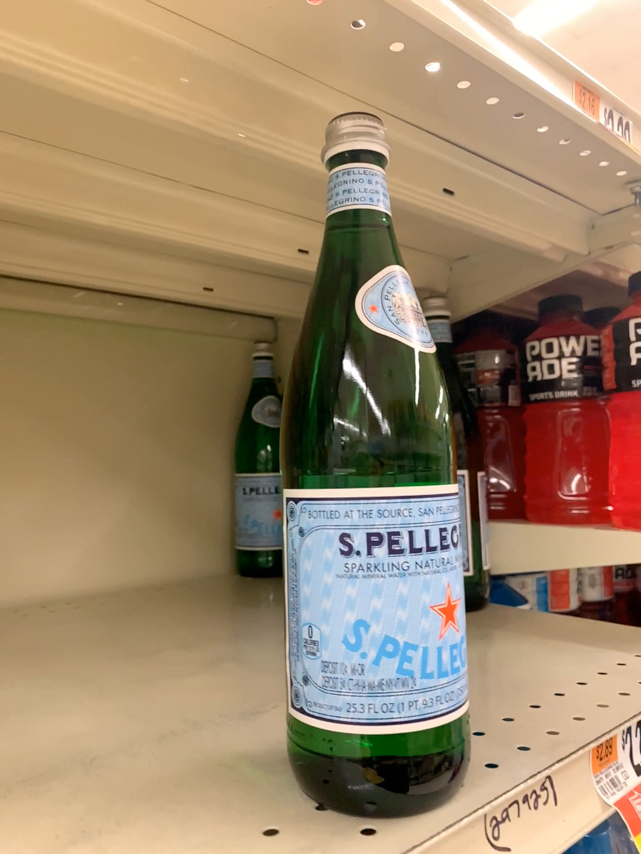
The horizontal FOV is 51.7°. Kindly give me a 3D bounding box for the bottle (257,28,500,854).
[{"bbox_3d":[0.023,0.004,0.288,0.078,0.302,0.065,1,-3,-34],"label":"bottle"}]
